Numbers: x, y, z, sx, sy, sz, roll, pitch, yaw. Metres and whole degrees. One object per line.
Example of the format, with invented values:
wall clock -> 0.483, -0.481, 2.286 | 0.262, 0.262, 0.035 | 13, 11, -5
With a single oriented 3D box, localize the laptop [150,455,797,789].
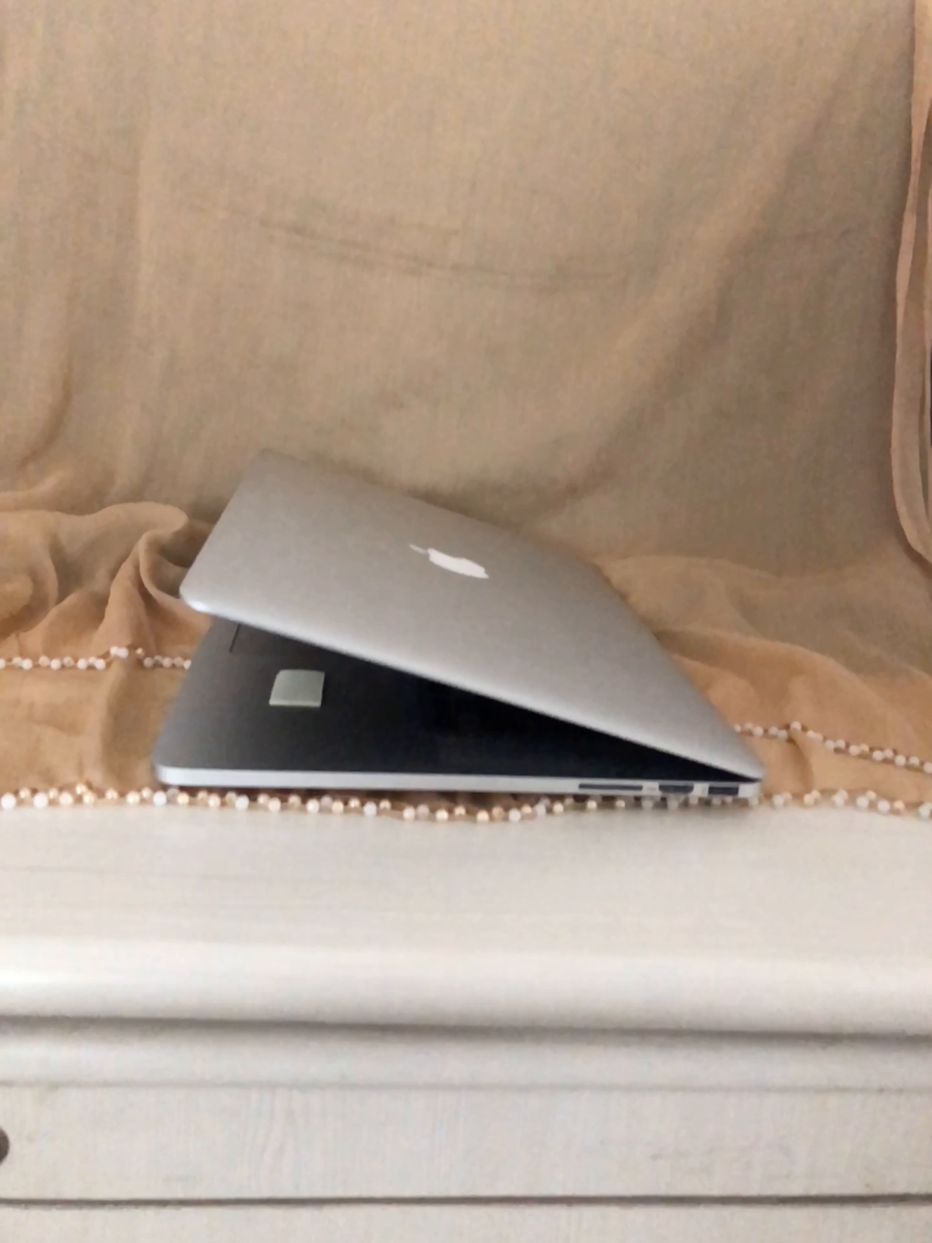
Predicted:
laptop -> -0.014, -0.024, 0.551 | 0.239, 0.063, 0.353 | 3, 17, -7
